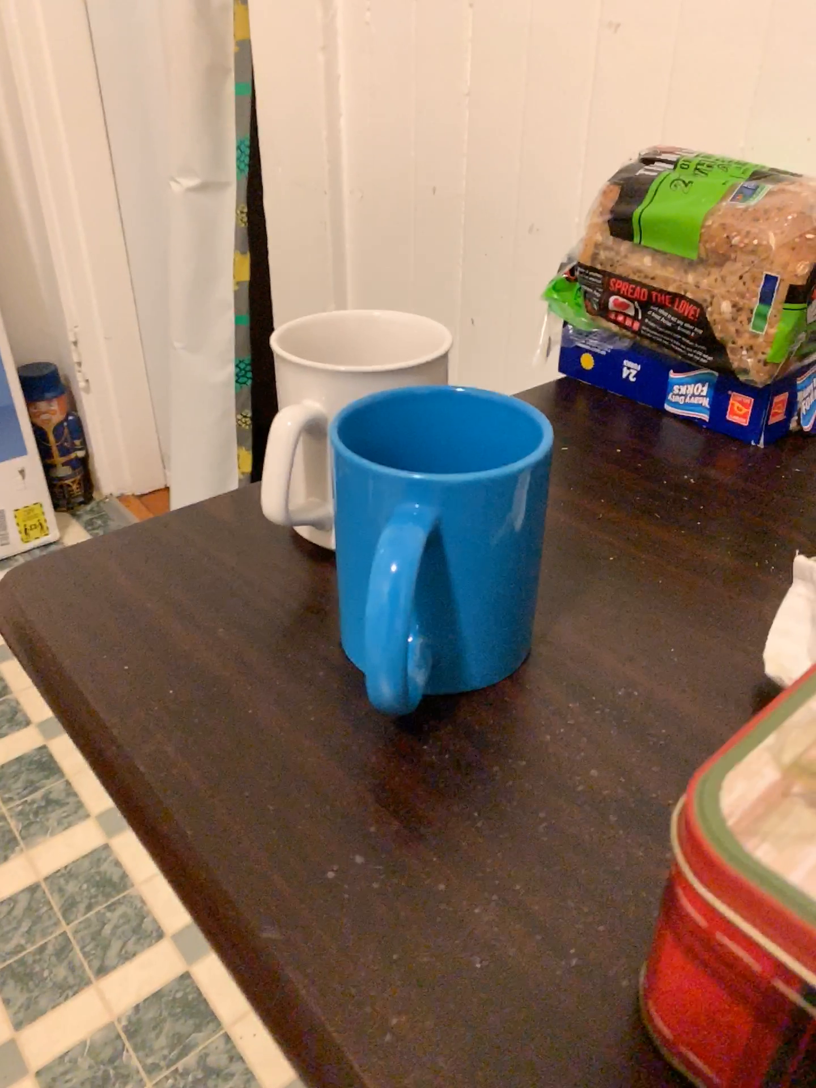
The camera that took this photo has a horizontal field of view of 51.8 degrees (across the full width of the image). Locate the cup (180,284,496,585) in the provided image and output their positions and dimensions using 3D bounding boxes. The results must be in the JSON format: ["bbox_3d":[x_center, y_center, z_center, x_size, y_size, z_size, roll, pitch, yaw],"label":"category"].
[{"bbox_3d":[-0.028,-0.060,0.407,0.090,0.089,0.120,19,37,27],"label":"cup"}]

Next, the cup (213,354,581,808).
[{"bbox_3d":[0.006,0.003,0.323,0.090,0.099,0.141,10,34,15],"label":"cup"}]
